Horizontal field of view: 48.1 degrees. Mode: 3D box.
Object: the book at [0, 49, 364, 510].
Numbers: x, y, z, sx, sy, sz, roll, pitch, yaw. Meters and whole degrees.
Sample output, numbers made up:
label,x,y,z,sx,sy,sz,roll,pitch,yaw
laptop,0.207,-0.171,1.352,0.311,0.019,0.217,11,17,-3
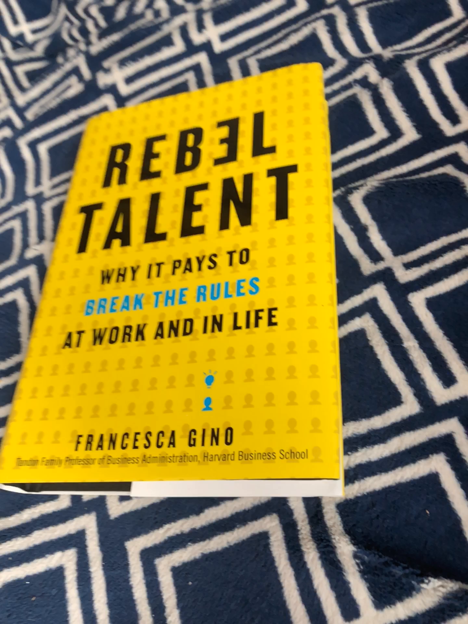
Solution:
label,x,y,z,sx,sy,sz,roll,pitch,yaw
book,-0.028,-0.027,0.269,0.167,0.032,0.237,-6,59,16
